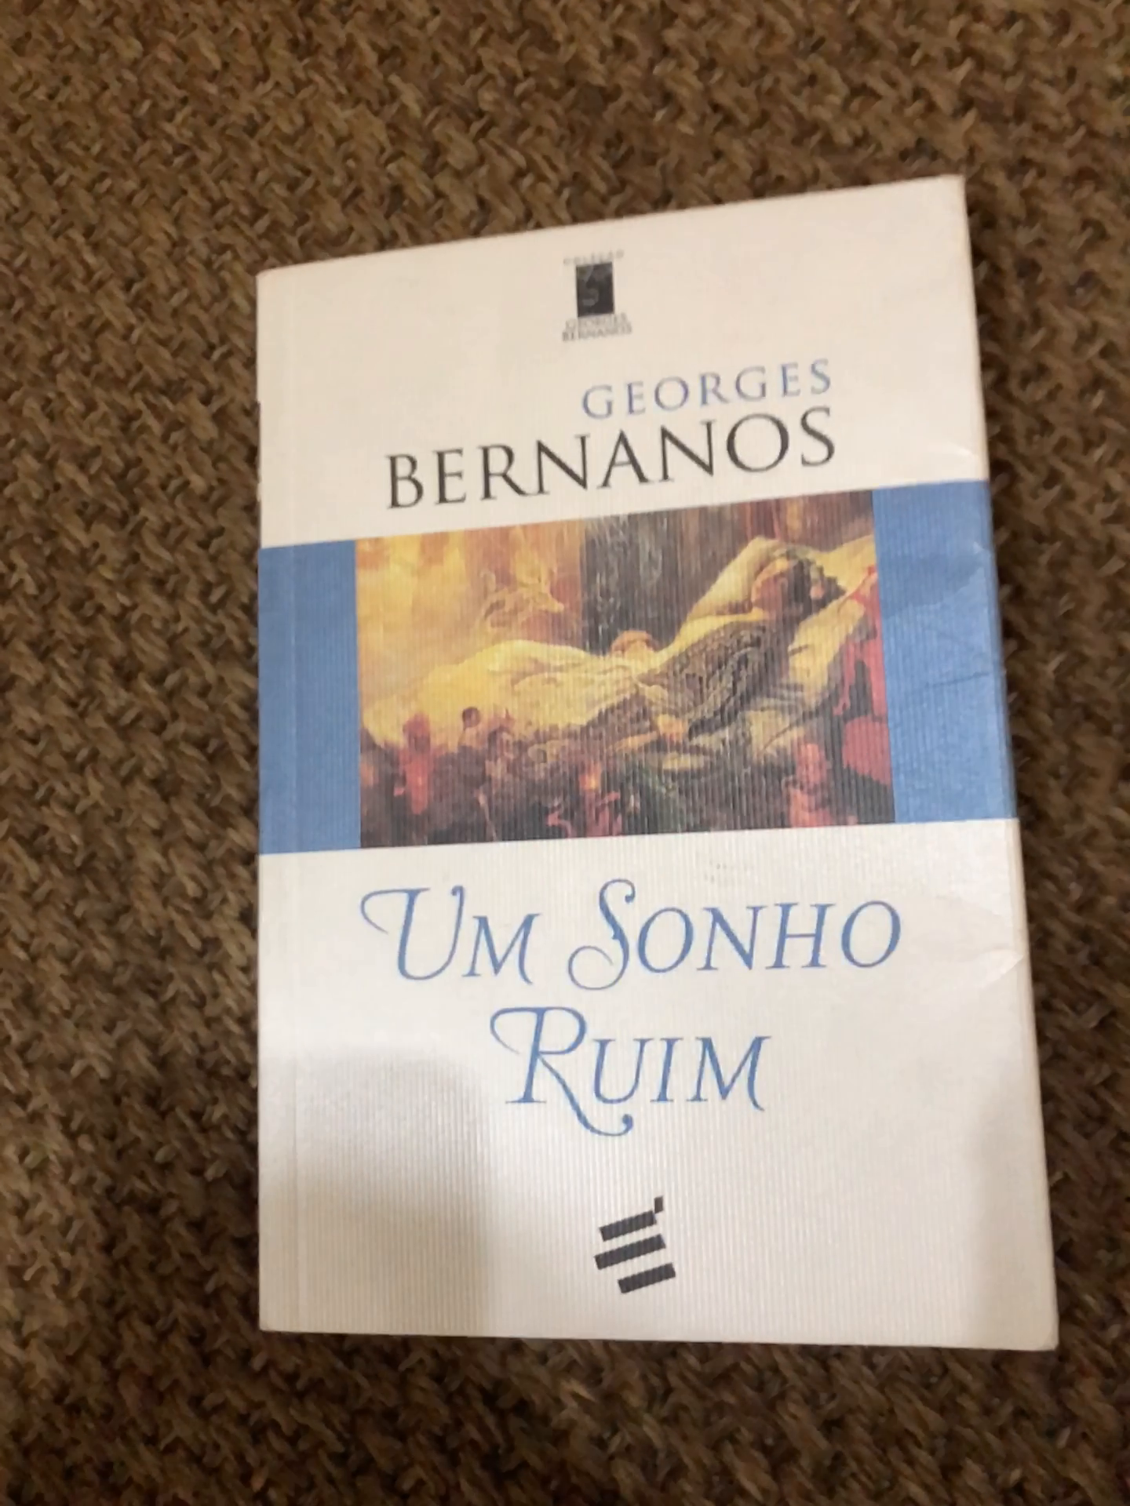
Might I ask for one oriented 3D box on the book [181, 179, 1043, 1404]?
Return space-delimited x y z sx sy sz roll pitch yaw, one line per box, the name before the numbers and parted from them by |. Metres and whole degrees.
book | 0.001 0.005 0.227 0.140 0.020 0.199 -4 82 11
